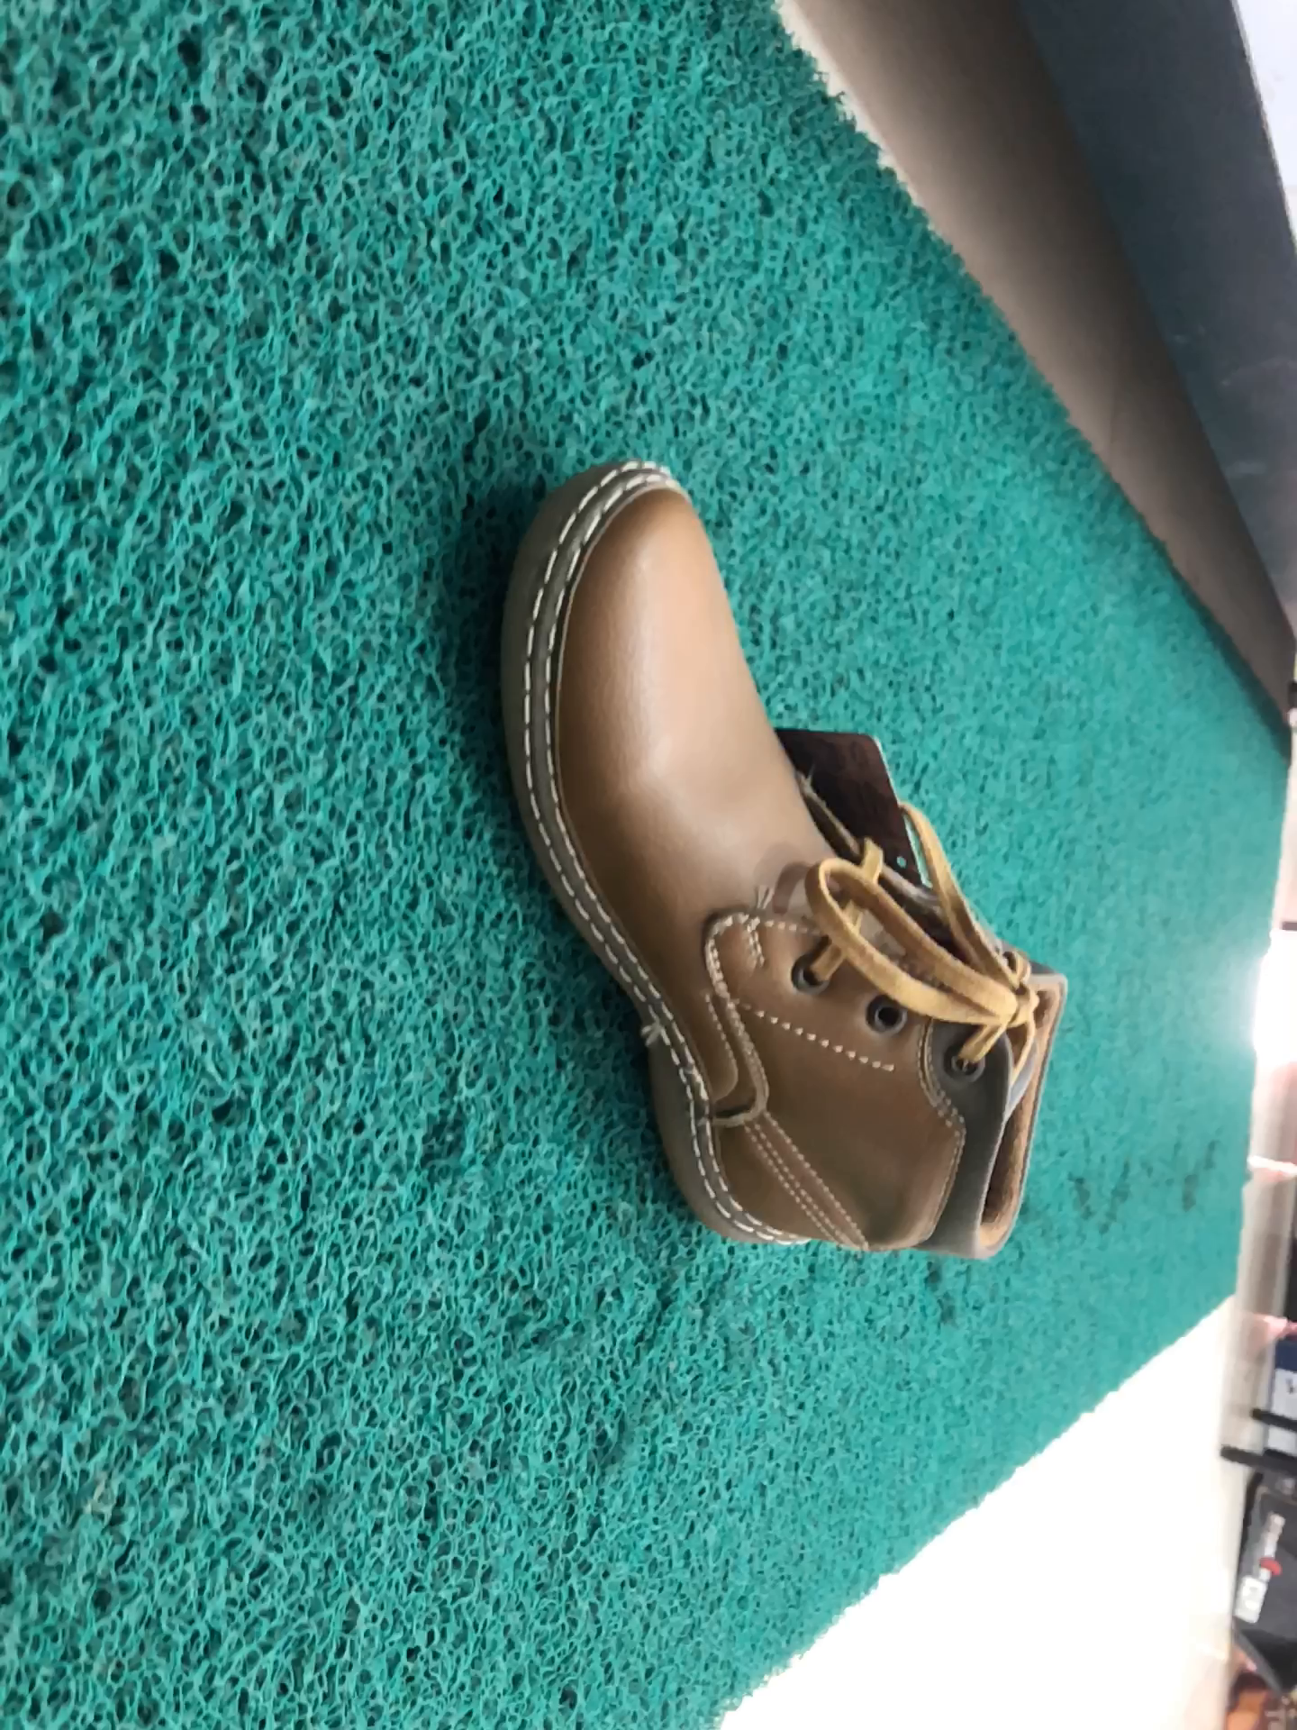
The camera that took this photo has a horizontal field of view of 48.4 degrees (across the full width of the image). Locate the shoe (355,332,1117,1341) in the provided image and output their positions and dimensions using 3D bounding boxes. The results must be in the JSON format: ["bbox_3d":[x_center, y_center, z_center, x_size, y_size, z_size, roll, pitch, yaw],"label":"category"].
[{"bbox_3d":[0.049,0.007,0.439,0.100,0.129,0.291,-57,139,-37],"label":"shoe"}]
